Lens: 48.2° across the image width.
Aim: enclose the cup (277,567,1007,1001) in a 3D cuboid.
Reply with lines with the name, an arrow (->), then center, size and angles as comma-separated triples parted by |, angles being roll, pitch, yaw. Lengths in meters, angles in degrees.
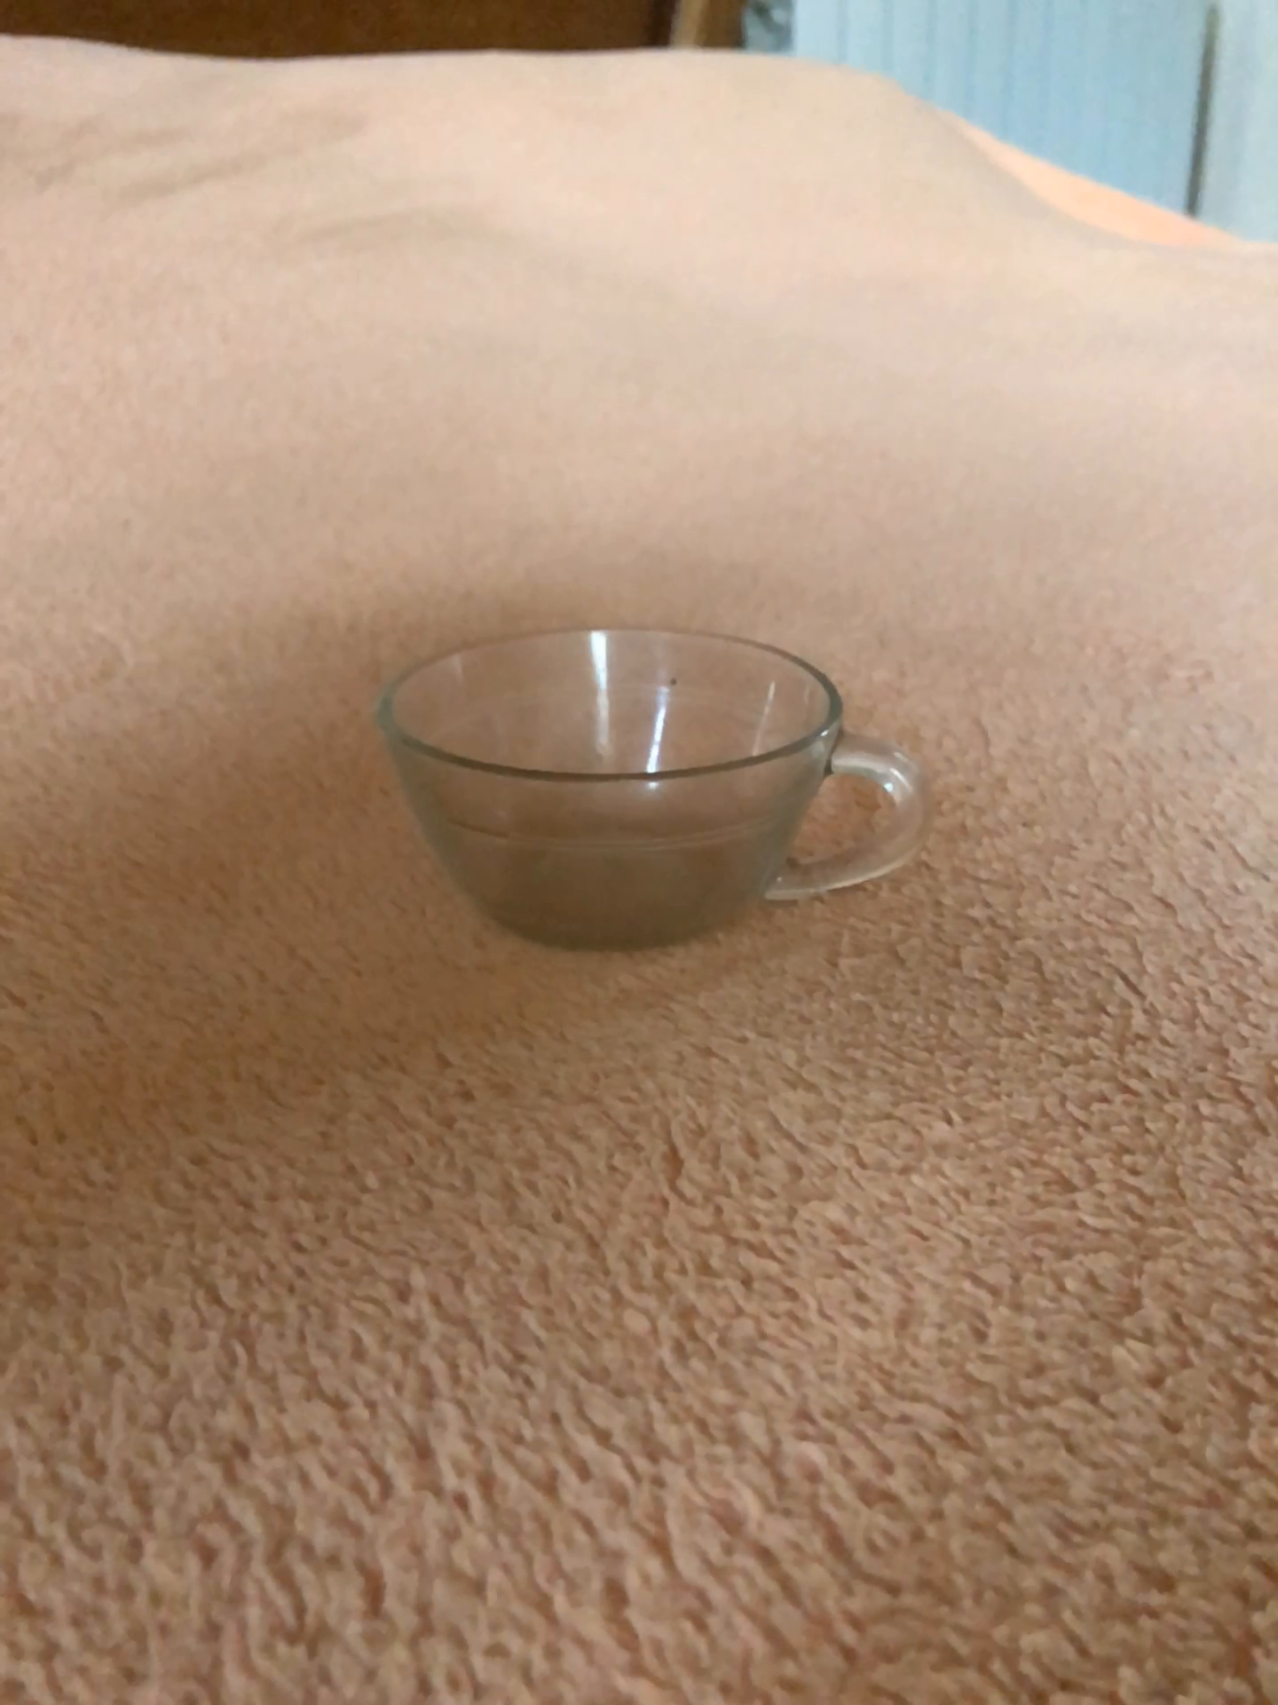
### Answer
cup -> 0.007, -0.019, 0.260 | 0.110, 0.040, 0.091 | 3, 27, 11
